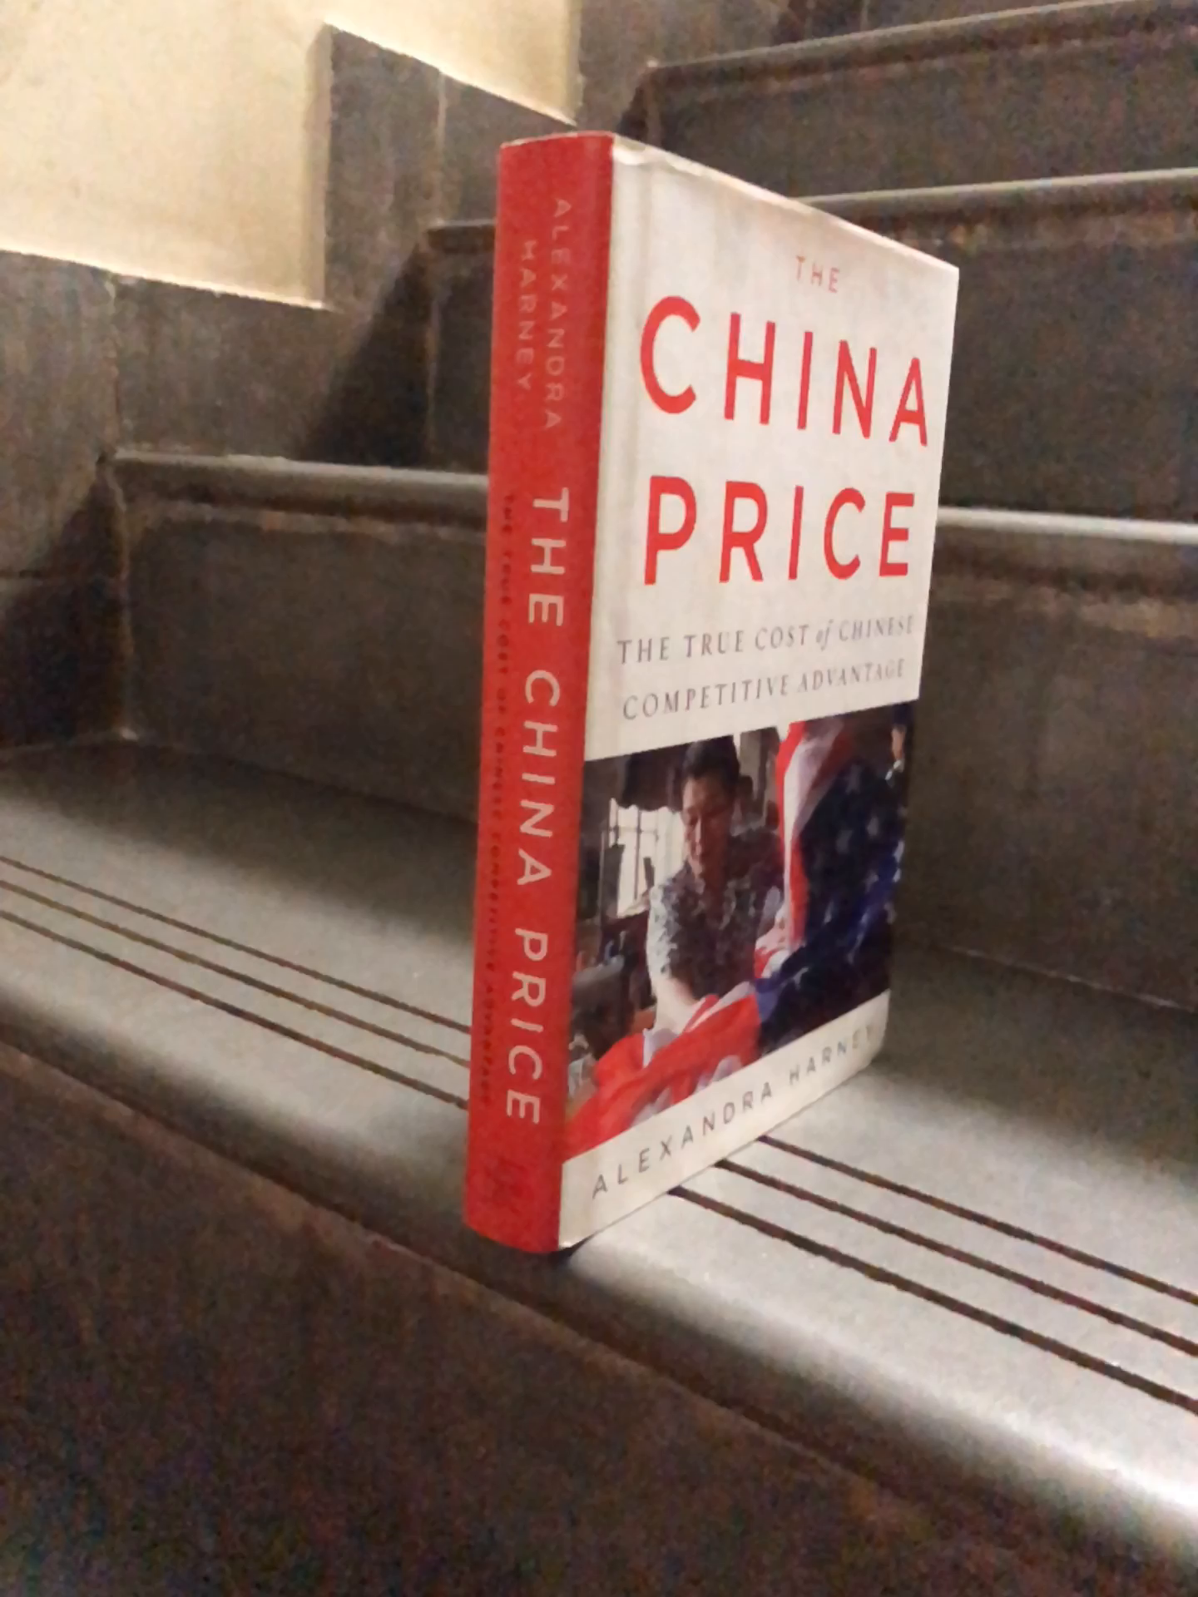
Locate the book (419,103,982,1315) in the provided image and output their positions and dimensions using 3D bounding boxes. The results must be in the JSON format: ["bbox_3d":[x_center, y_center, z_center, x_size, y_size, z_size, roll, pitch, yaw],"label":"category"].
[{"bbox_3d":[0.033,-0.023,0.343,0.040,0.239,0.180,11,16,36],"label":"book"}]
